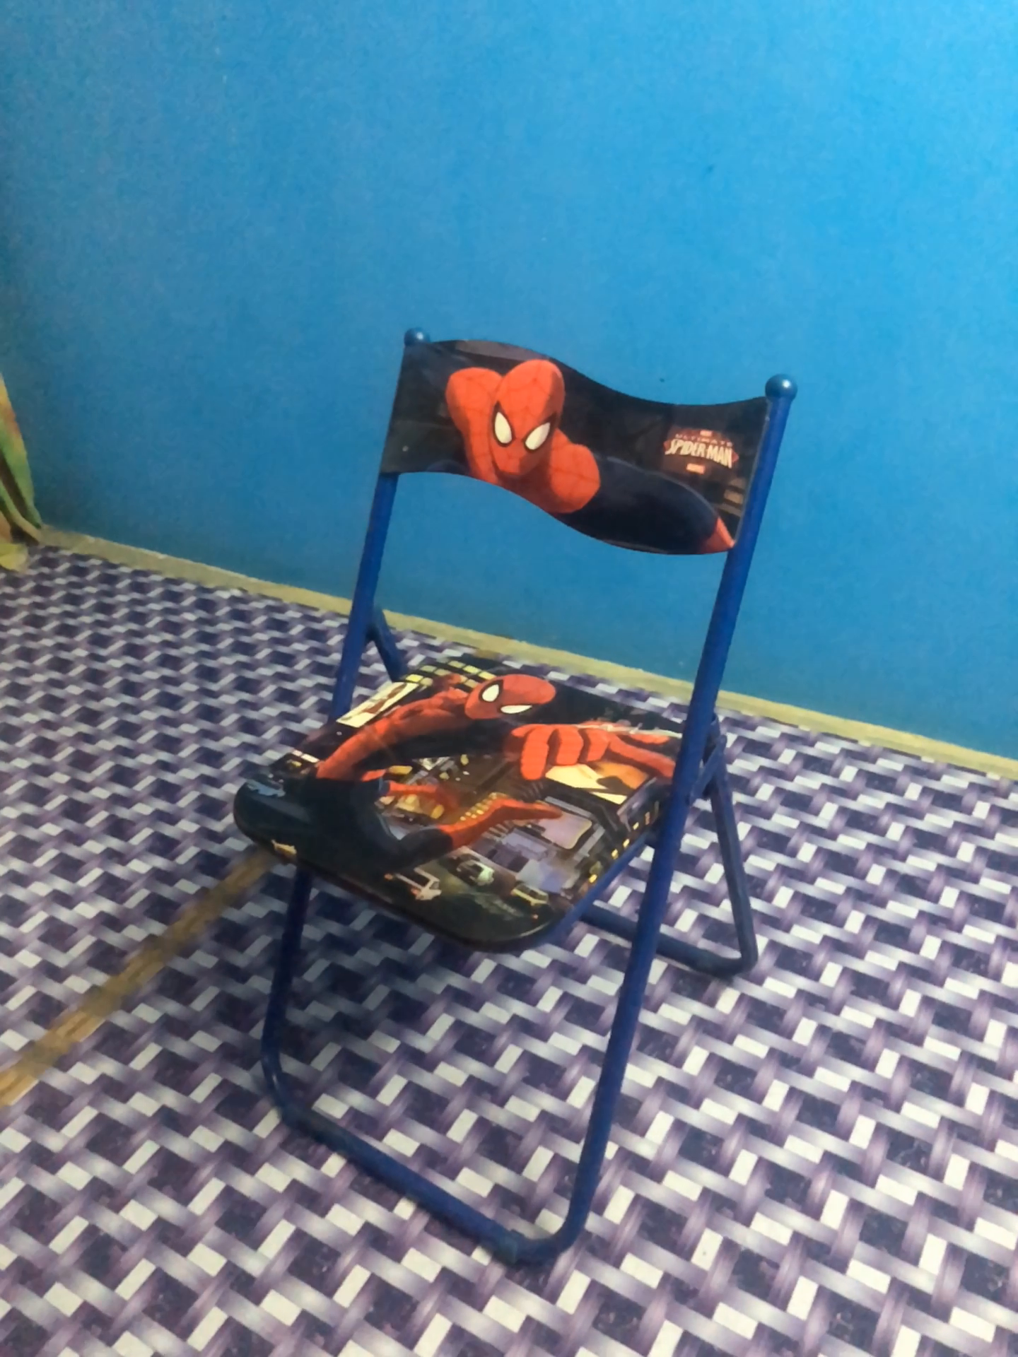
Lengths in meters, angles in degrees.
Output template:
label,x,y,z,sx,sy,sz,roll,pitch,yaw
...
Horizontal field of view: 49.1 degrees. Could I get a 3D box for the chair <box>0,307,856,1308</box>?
label,x,y,z,sx,sy,sz,roll,pitch,yaw
chair,-0.035,0.068,1.125,0.510,0.686,0.563,17,38,30
